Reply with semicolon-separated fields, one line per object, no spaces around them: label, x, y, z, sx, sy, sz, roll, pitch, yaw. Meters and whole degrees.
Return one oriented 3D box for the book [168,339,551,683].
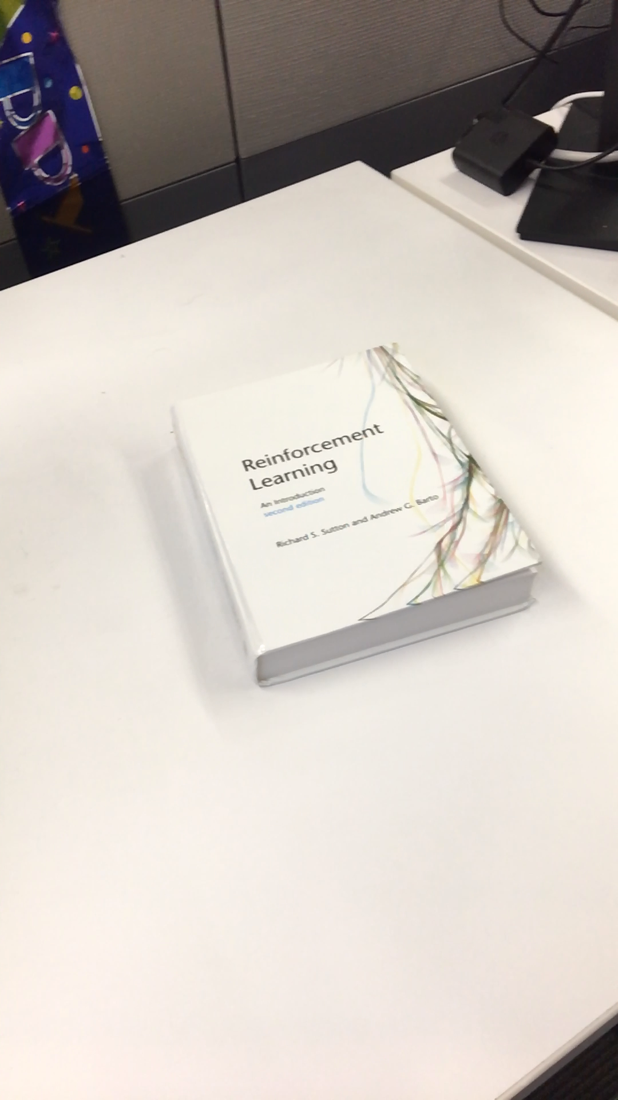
book;0.021;-0.041;0.611;0.180;0.030;0.240;-16;49;-9
